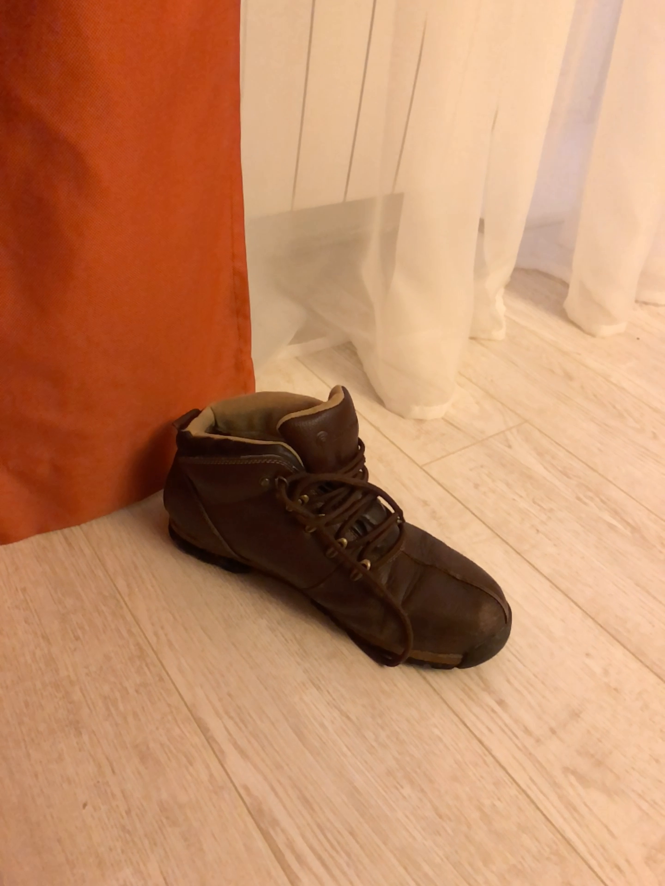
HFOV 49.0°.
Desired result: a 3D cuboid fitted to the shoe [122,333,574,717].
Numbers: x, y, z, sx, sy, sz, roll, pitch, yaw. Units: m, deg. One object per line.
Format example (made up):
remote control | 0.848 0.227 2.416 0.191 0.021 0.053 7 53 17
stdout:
shoe | 0.002 0.052 0.559 0.300 0.159 0.111 21 40 18
